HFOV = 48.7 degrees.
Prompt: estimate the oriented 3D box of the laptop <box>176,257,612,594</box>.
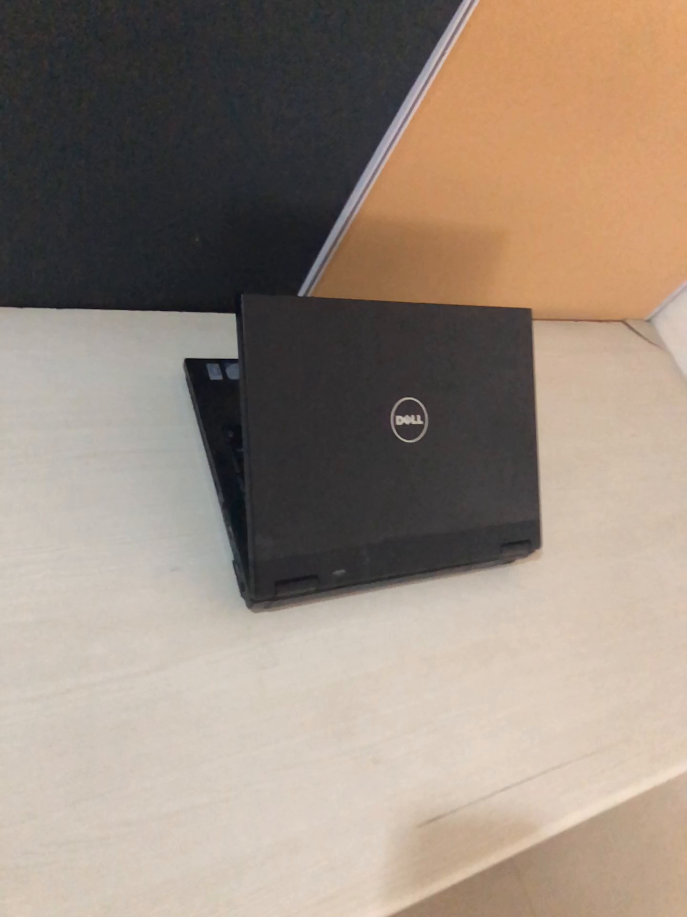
[{"bbox_3d":[0.041,-0.036,0.664,0.303,0.126,0.225,-4,62,-32],"label":"laptop"}]
